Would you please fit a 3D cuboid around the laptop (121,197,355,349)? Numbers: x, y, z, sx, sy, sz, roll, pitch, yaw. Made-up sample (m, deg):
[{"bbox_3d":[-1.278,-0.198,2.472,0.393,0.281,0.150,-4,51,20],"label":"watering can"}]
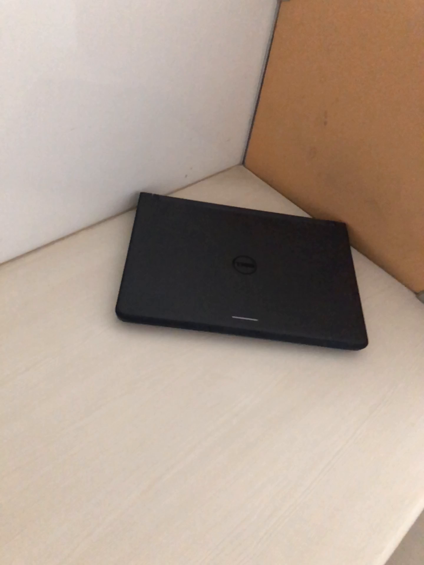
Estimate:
[{"bbox_3d":[0.035,-0.023,0.650,0.290,0.007,0.228,7,48,-4],"label":"laptop"}]
